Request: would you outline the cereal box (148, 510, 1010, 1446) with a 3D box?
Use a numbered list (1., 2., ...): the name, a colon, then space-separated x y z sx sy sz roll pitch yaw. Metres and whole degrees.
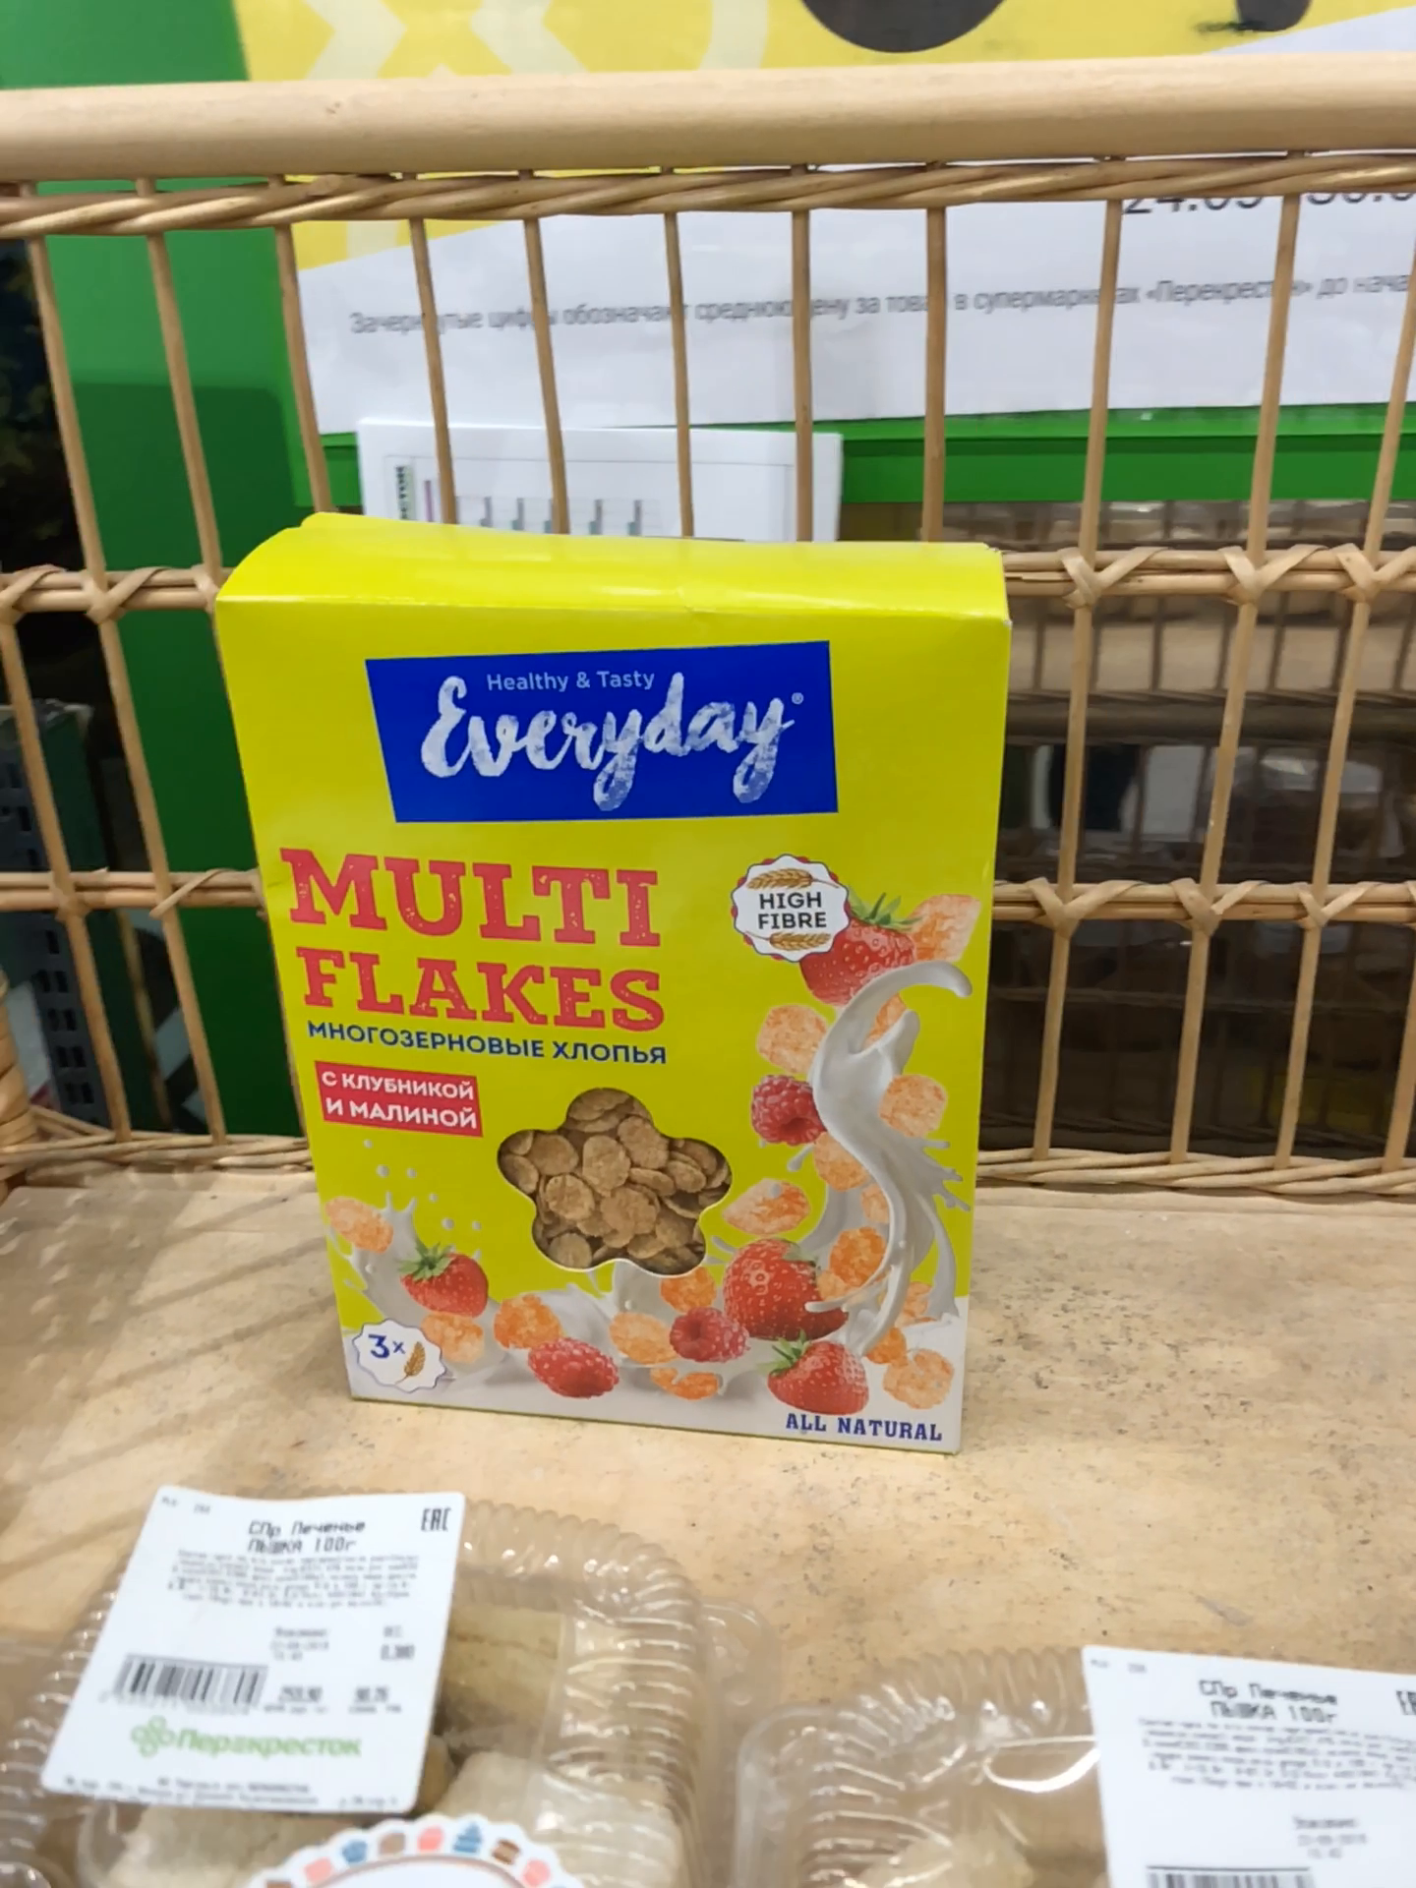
1. cereal box: -0.022 0.013 0.398 0.180 0.229 0.060 3 29 9
